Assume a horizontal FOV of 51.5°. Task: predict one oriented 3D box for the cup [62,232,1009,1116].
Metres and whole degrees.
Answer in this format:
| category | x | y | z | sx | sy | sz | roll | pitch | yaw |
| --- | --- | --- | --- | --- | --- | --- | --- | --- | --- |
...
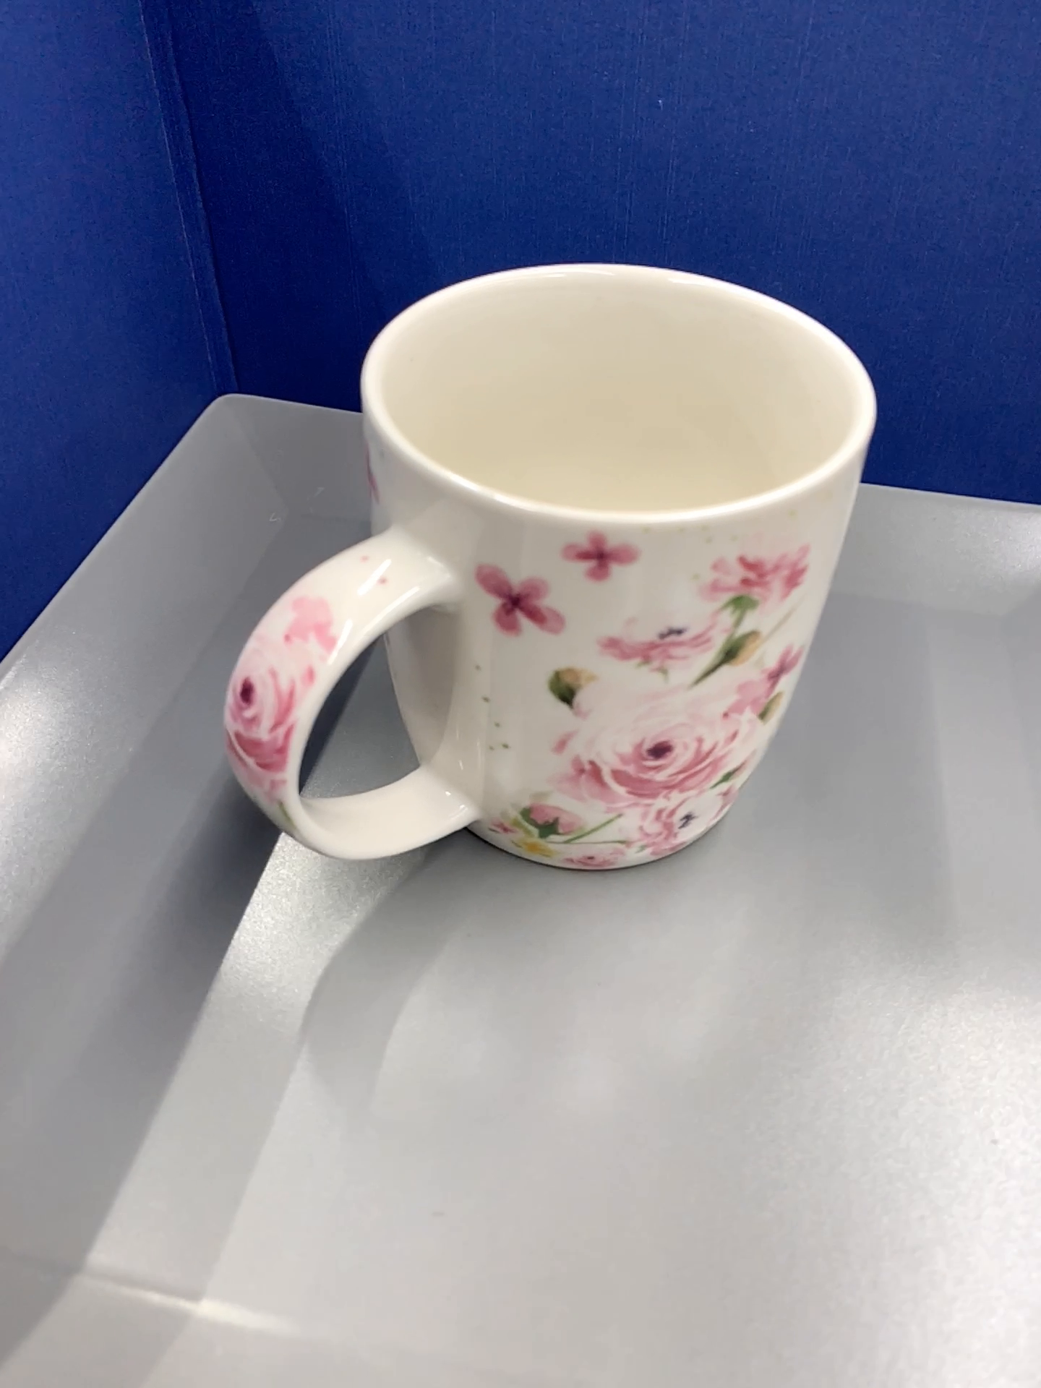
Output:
| category | x | y | z | sx | sy | sz | roll | pitch | yaw |
| --- | --- | --- | --- | --- | --- | --- | --- | --- | --- |
| cup | 0.002 | -0.012 | 0.187 | 0.110 | 0.087 | 0.085 | -26 | 48 | -27 |
